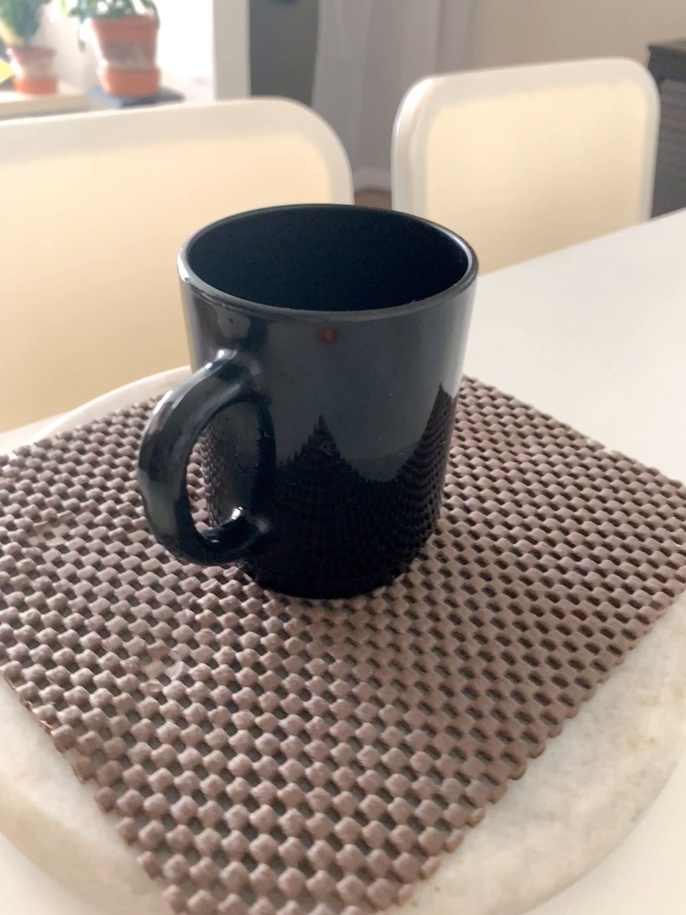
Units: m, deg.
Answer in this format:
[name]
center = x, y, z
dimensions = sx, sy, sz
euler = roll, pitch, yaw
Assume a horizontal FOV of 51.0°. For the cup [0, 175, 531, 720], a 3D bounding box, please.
[cup]
center = -0.010, -0.013, 0.182
dimensions = 0.076, 0.080, 0.101
euler = 18, 39, 21
